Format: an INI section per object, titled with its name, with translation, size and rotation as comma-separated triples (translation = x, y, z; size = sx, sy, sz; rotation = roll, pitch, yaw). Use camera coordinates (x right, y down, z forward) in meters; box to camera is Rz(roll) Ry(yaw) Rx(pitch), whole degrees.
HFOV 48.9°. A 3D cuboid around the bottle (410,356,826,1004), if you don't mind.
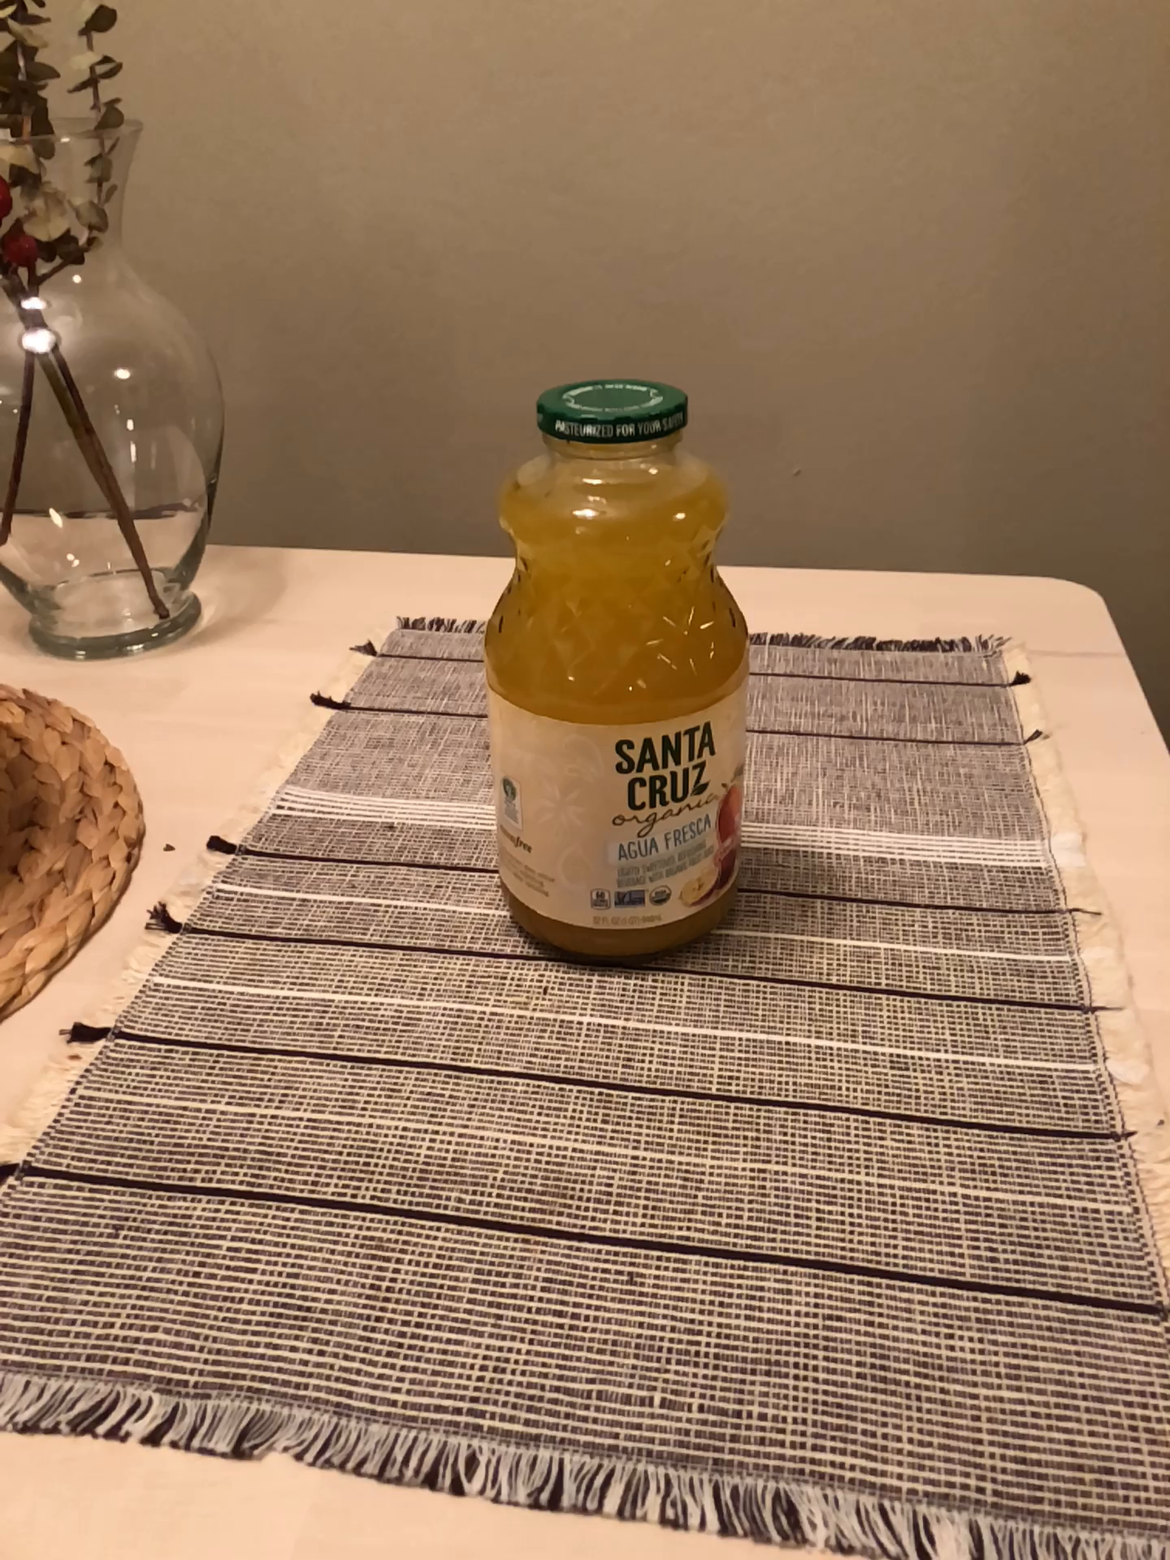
[bottle]
translation = 0.010, -0.038, 0.458
size = 0.100, 0.189, 0.100
rotation = -1, 30, 1
